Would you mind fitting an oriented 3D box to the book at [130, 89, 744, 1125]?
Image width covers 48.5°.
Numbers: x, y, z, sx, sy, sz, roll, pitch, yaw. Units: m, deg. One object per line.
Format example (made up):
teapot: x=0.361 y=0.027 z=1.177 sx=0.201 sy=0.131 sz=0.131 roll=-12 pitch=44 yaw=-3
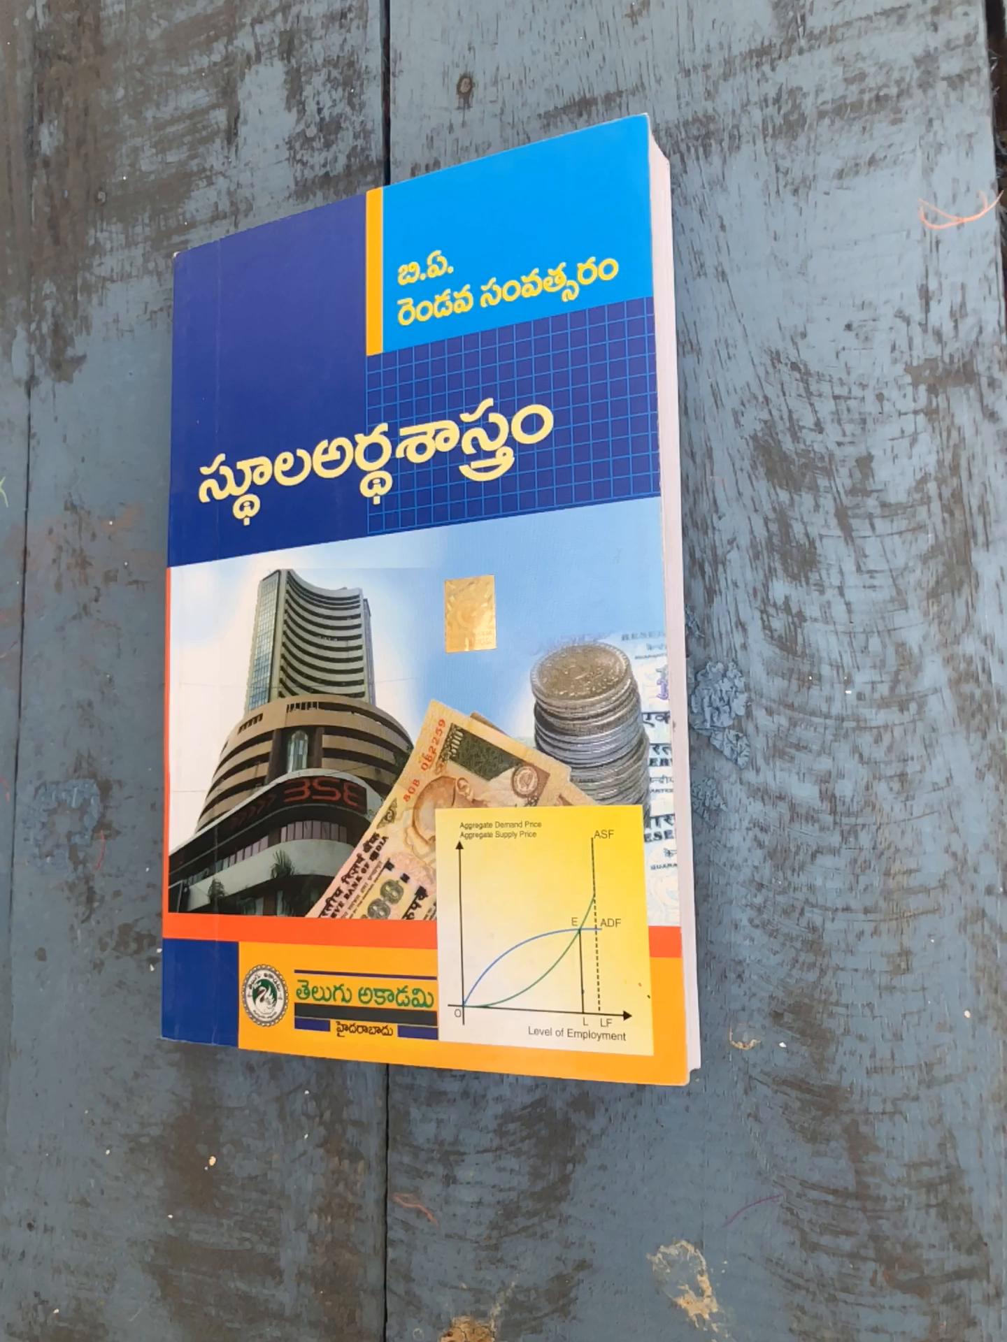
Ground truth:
book: x=-0.027 y=-0.013 z=0.316 sx=0.170 sy=0.030 sz=0.250 roll=-4 pitch=85 yaw=24
